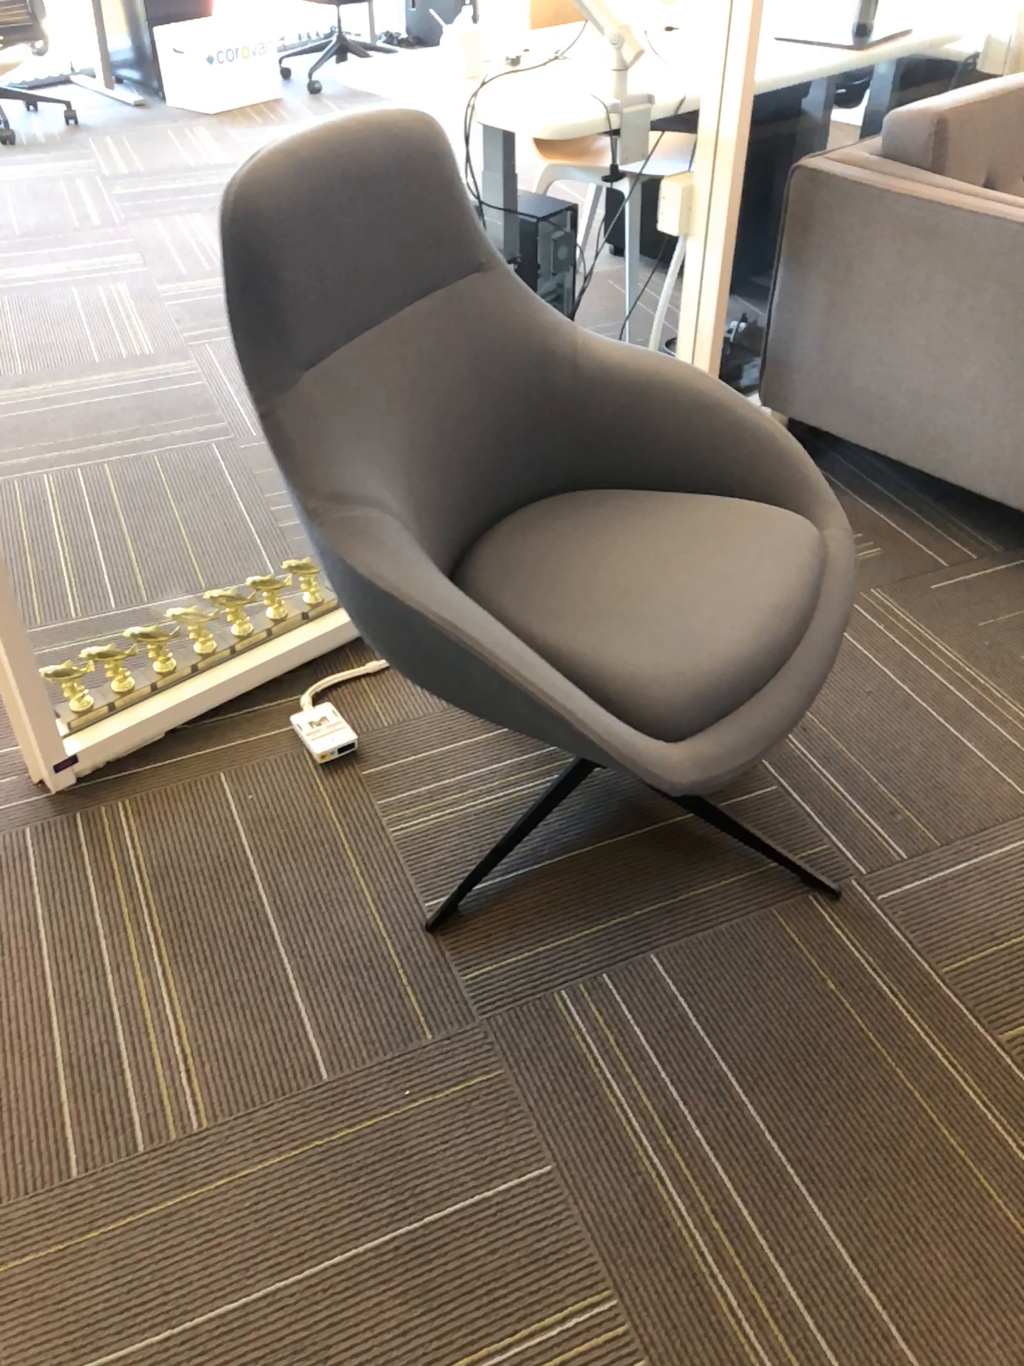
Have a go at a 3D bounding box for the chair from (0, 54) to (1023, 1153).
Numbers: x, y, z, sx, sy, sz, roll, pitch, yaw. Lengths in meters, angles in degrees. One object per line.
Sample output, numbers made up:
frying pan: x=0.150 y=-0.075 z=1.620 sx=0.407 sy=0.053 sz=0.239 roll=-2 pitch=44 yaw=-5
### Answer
chair: x=0.116 y=-0.208 z=1.611 sx=0.962 sy=0.995 sz=0.933 roll=21 pitch=43 yaw=24
